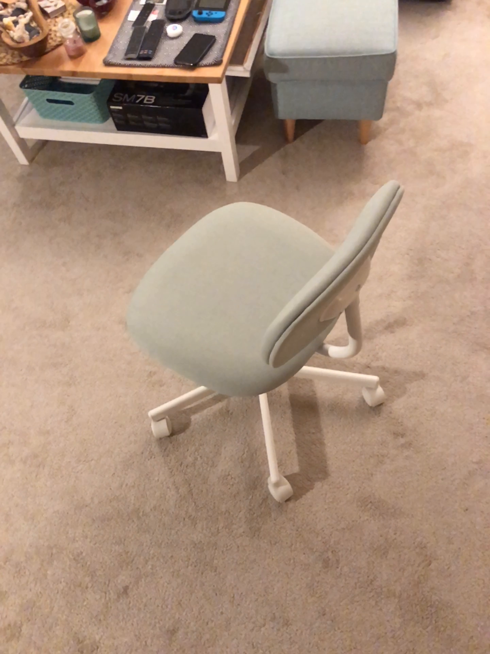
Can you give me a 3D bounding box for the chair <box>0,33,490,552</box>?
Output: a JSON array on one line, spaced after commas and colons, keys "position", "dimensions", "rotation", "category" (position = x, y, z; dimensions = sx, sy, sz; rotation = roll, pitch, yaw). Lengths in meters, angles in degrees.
[{"position": [0.009, -0.050, 1.176], "dimensions": [0.641, 0.677, 0.661], "rotation": [35, 69, 24], "category": "chair"}]
